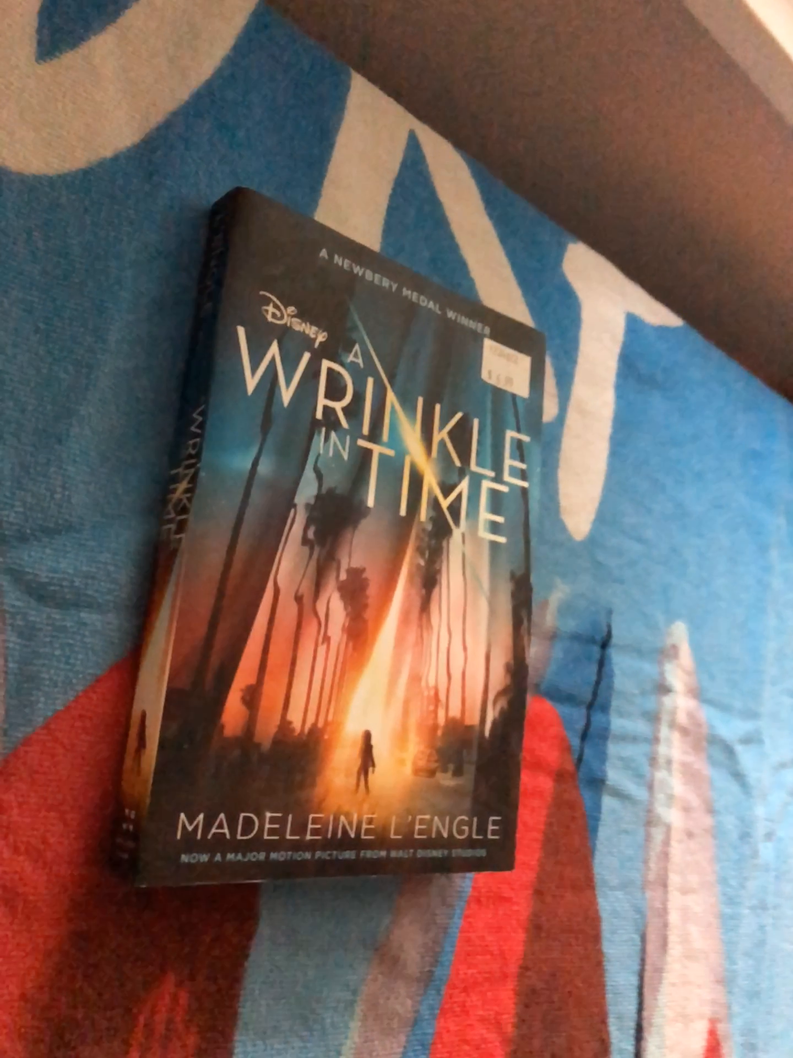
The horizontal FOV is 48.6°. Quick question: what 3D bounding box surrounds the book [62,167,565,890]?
[{"bbox_3d":[-0.013,0.008,0.283,0.138,0.031,0.195,16,76,-36],"label":"book"}]
